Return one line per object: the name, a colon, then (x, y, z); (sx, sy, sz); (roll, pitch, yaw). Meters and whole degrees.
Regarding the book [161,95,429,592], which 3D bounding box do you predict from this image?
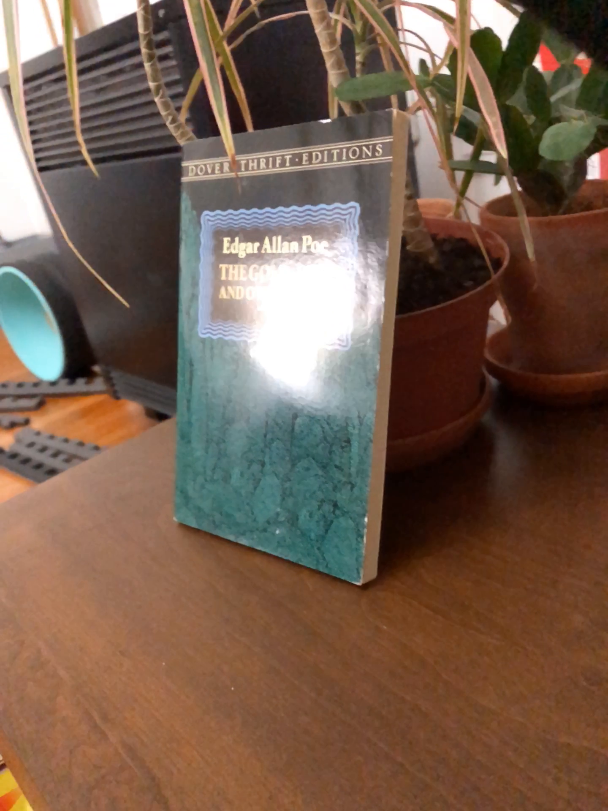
book: (-0.014, -0.031, 0.337); (0.140, 0.210, 0.020); (9, 8, 38)
